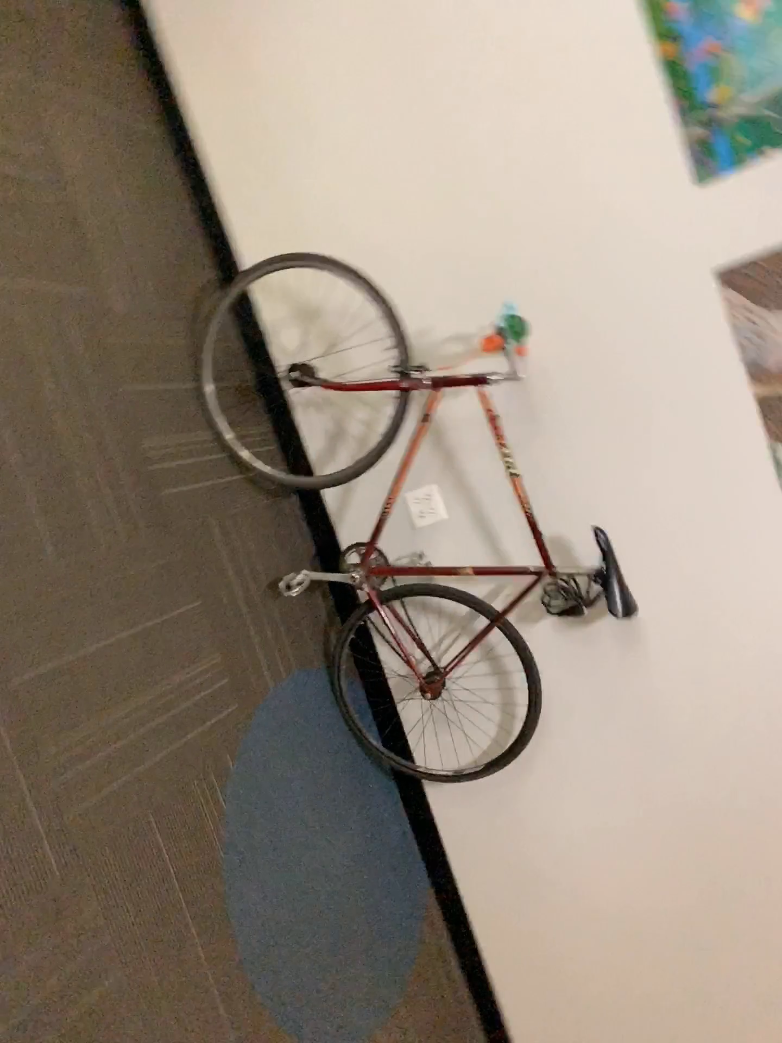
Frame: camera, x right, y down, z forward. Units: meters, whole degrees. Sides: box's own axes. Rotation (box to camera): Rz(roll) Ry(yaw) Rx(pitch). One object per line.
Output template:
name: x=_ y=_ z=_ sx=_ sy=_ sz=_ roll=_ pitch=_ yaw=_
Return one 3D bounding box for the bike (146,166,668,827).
bike: x=0.086 y=-0.008 z=2.335 sx=1.628 sy=0.909 sz=0.450 roll=68 pitch=26 yaw=-9
